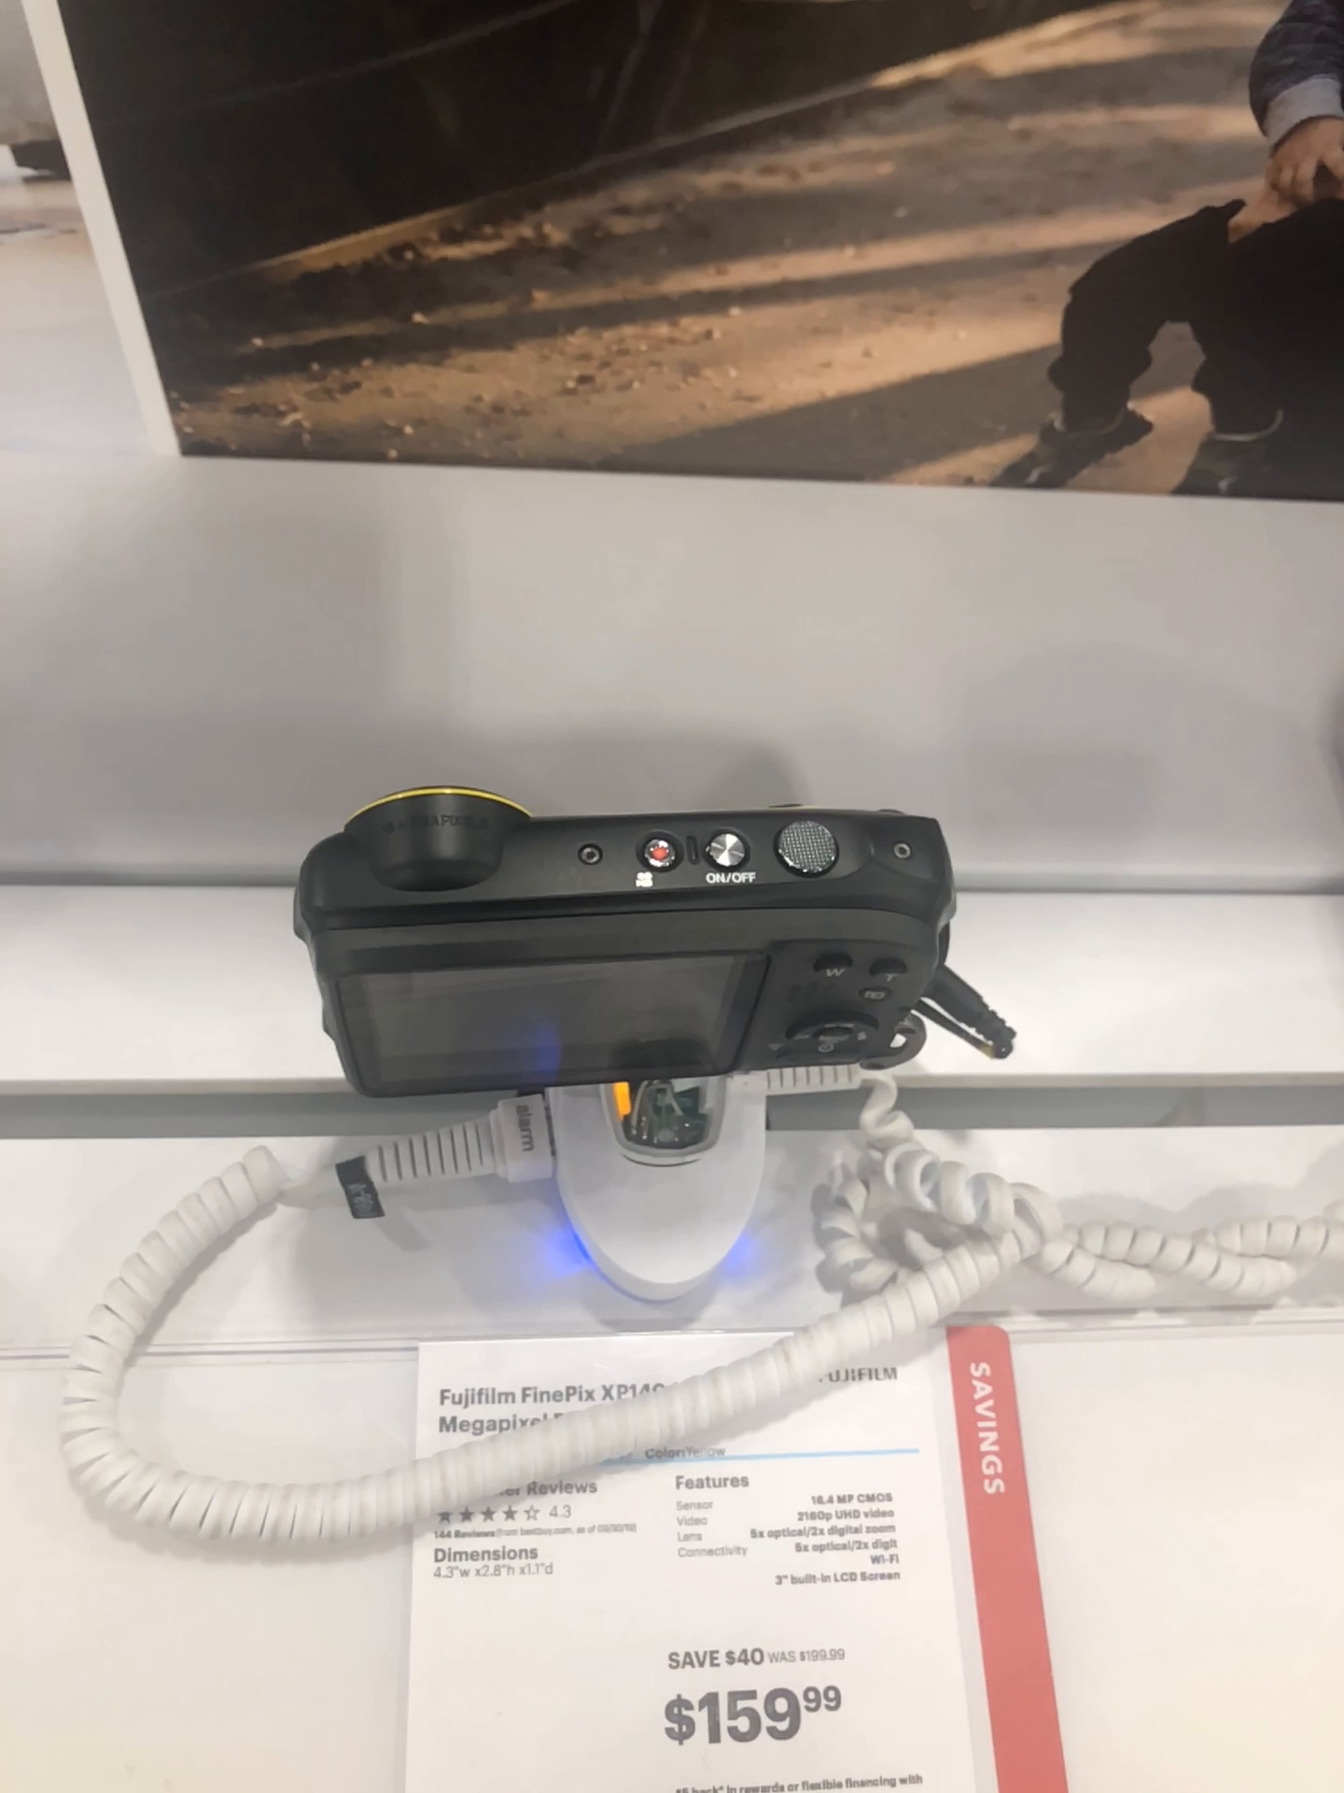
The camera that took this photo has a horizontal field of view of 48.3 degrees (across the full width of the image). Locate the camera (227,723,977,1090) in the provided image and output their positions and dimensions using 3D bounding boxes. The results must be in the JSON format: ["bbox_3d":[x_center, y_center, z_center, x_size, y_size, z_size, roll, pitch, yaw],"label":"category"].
[{"bbox_3d":[-0.013,0.004,0.257,0.110,0.070,0.030,-3,64,-8],"label":"camera"}]
